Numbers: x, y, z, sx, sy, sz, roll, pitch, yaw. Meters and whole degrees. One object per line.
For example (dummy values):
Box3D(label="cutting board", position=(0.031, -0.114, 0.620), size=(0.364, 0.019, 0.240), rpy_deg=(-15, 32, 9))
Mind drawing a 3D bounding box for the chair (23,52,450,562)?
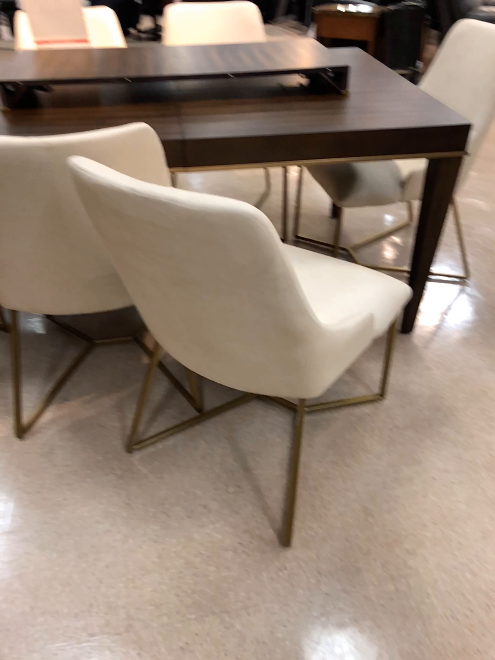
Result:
Box3D(label="chair", position=(0.019, -0.084, 1.299), size=(0.542, 0.904, 0.643), rpy_deg=(22, 43, 27))
